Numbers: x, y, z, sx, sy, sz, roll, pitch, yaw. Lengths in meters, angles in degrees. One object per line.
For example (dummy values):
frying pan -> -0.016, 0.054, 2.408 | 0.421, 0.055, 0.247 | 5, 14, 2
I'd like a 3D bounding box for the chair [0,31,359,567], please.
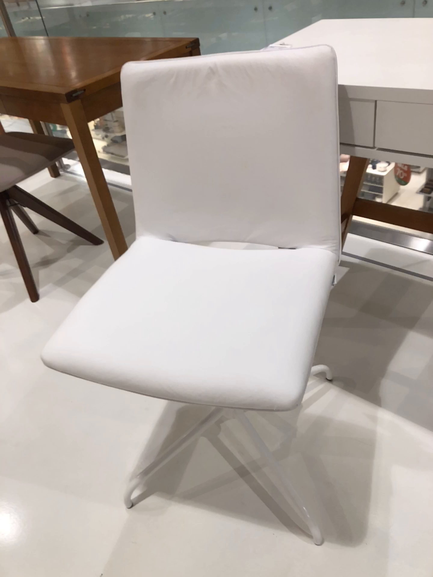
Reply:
chair -> -0.017, 0.040, 0.950 | 0.511, 0.844, 0.503 | 5, 40, 20
